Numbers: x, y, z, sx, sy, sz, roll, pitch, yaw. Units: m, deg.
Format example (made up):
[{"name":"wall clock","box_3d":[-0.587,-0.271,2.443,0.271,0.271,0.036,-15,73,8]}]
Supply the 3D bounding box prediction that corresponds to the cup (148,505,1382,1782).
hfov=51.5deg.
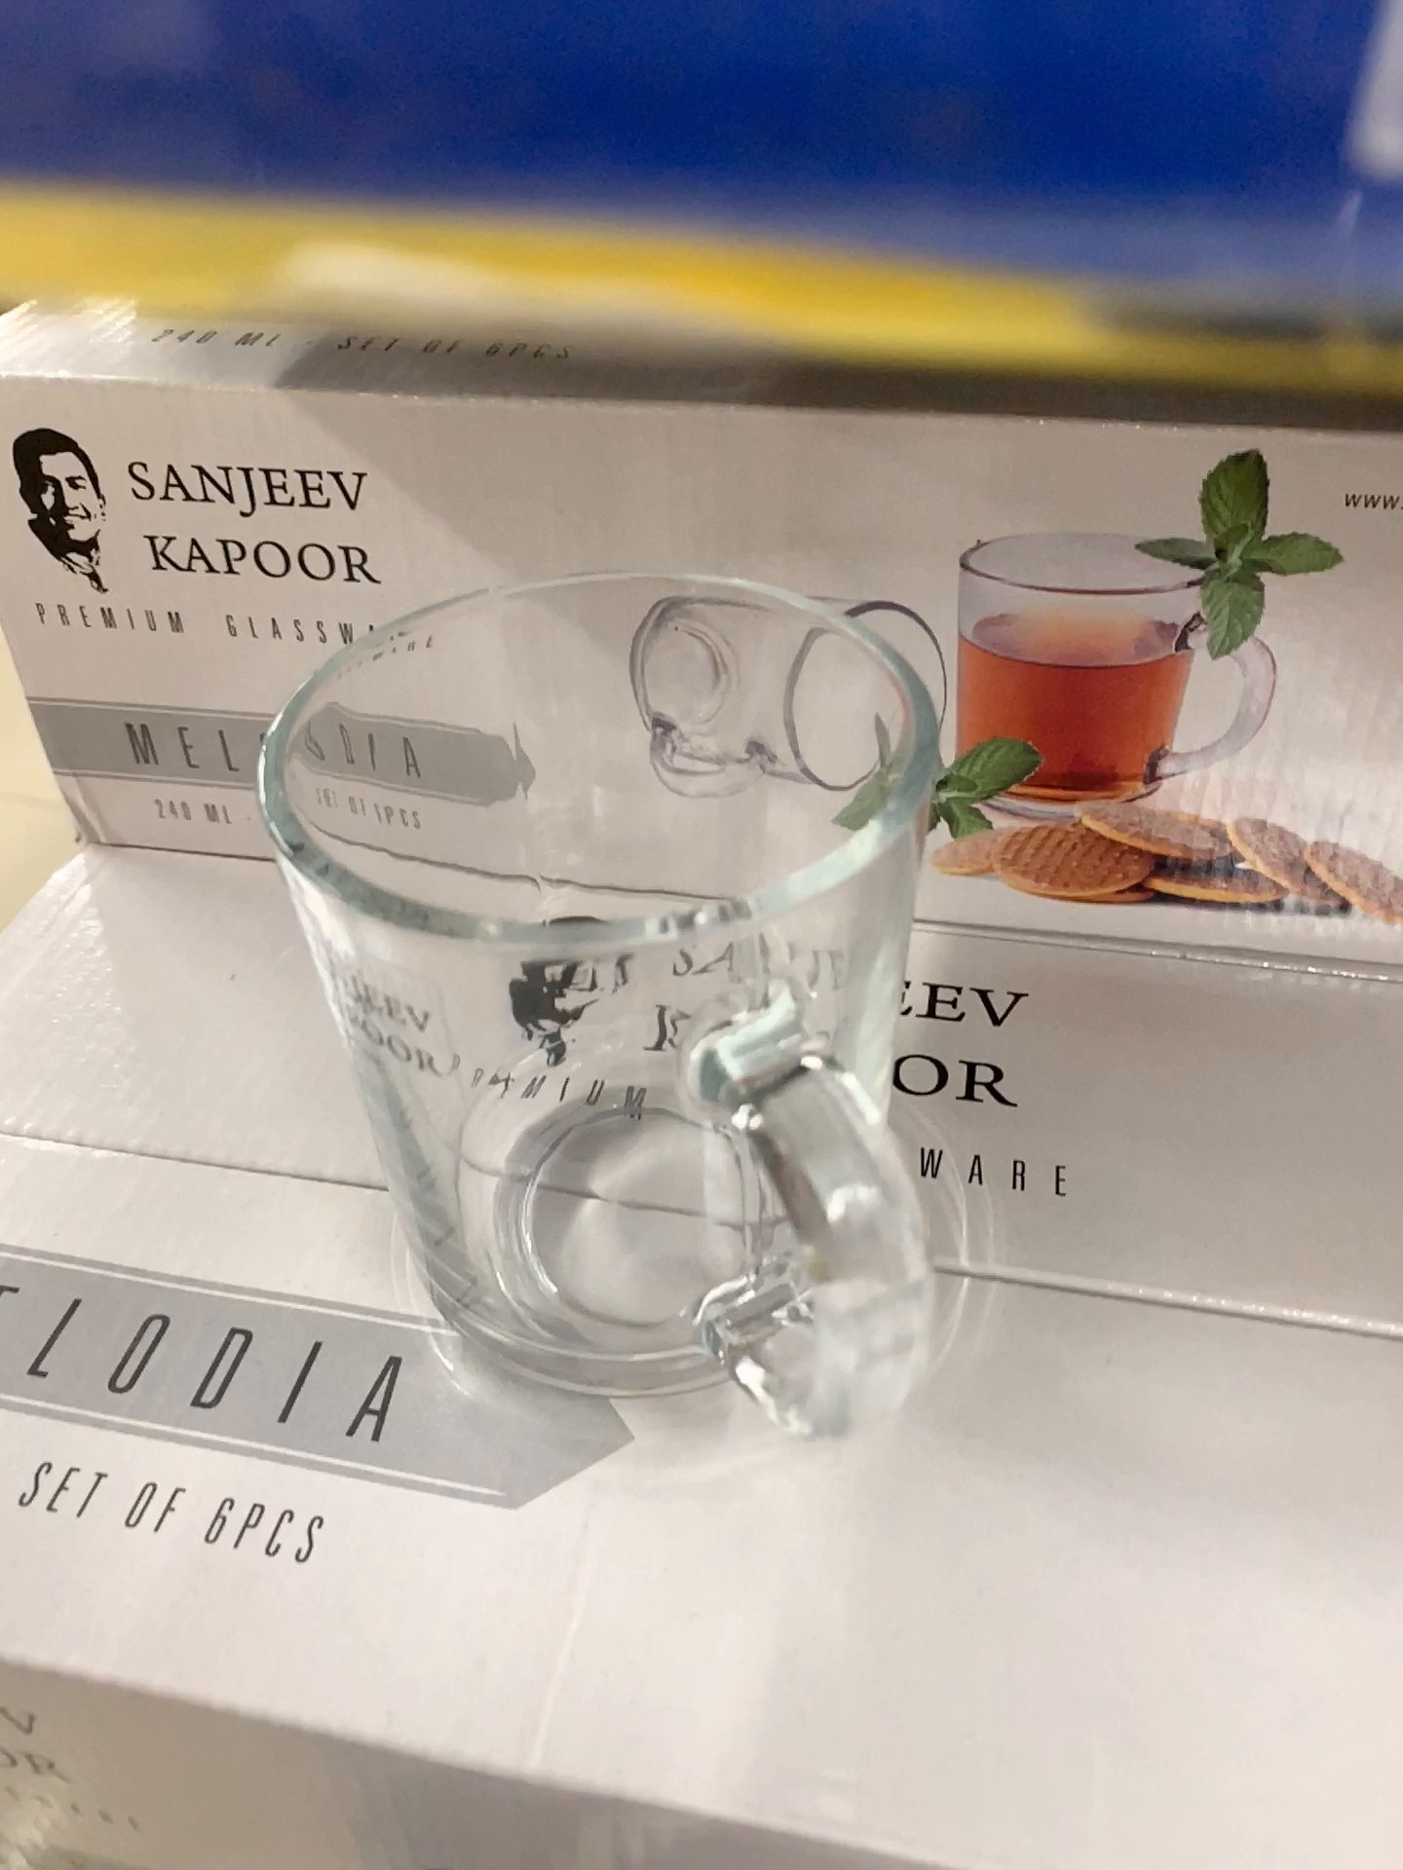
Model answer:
[{"name":"cup","box_3d":[0.001,0.014,0.165,0.070,0.080,0.100,-28,46,-30]}]
